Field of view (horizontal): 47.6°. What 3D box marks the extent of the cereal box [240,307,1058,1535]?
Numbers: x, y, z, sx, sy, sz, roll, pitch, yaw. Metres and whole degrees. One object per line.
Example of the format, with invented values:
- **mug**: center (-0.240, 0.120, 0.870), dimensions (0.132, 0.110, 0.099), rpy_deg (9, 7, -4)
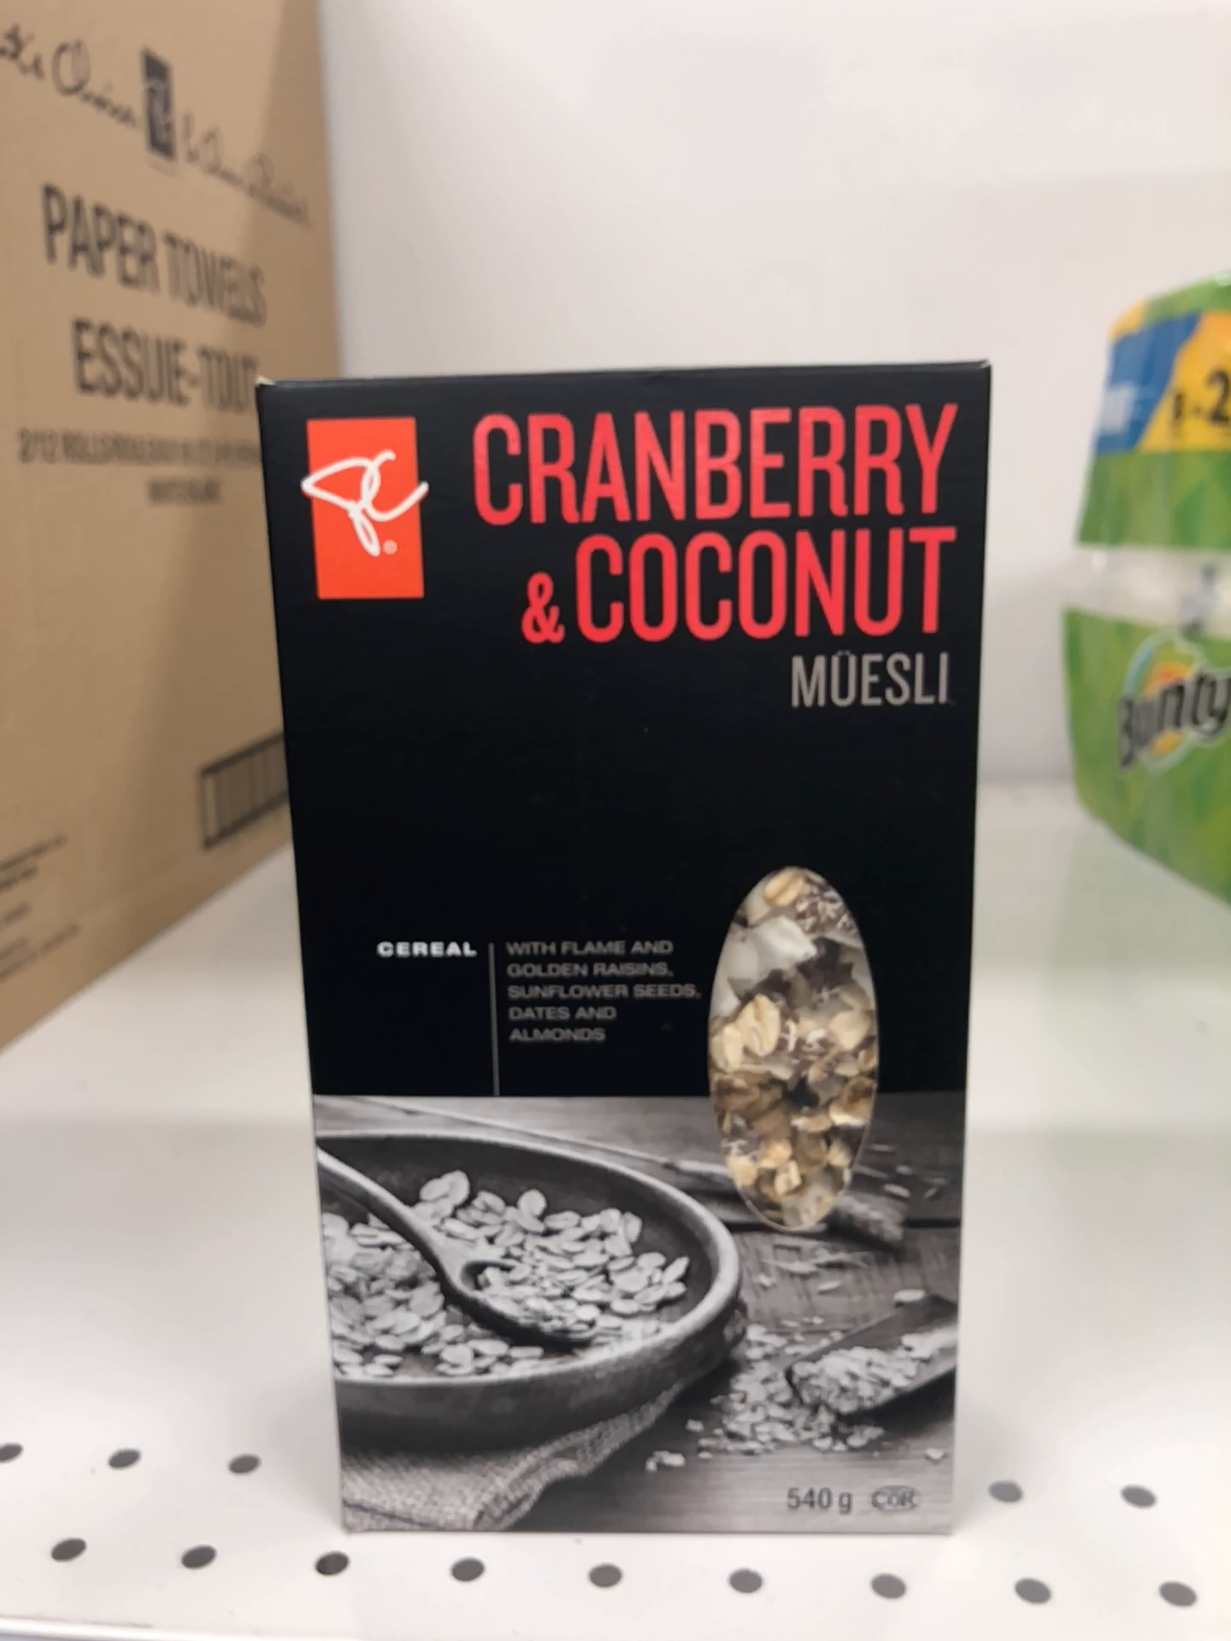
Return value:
- **cereal box**: center (0.009, 0.018, 0.258), dimensions (0.120, 0.200, 0.070), rpy_deg (-1, 11, 4)
